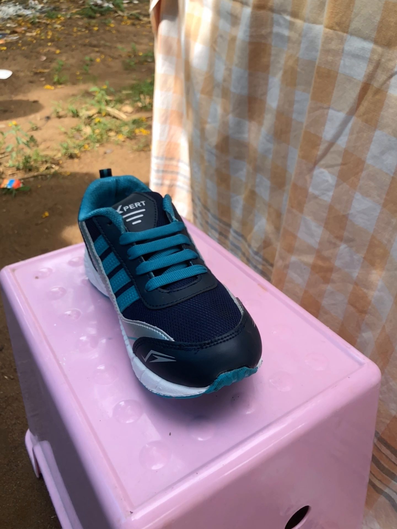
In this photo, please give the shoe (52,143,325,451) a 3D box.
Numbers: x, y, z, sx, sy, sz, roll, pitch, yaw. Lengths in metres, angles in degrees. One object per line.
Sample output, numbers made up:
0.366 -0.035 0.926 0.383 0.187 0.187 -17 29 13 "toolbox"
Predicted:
-0.031 0.000 0.393 0.110 0.109 0.271 -18 41 -23 "shoe"
